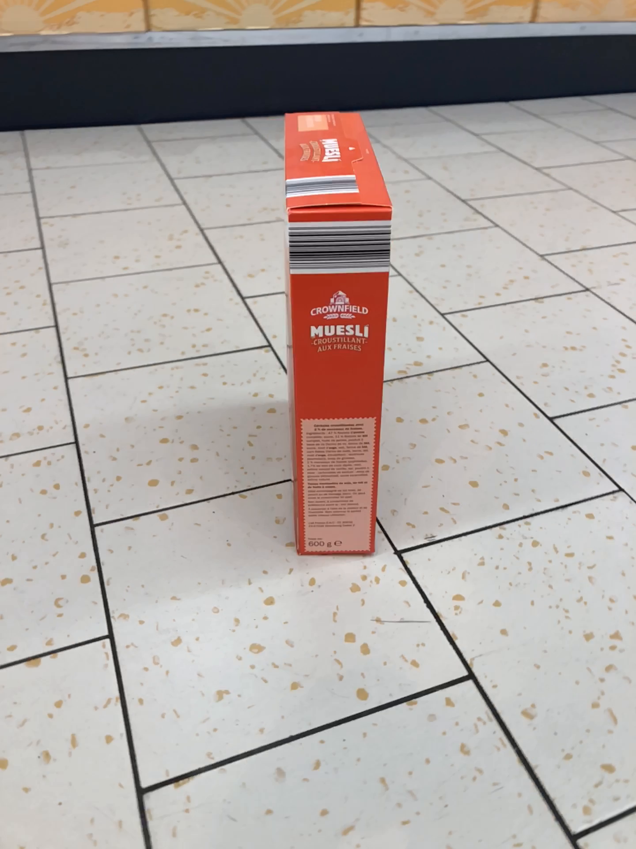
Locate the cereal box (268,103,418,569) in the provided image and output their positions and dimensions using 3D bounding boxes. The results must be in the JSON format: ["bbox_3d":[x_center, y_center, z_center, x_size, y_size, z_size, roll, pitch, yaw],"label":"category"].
[{"bbox_3d":[0.009,-0.063,0.481,0.070,0.248,0.201,0,37,-1],"label":"cereal box"}]
